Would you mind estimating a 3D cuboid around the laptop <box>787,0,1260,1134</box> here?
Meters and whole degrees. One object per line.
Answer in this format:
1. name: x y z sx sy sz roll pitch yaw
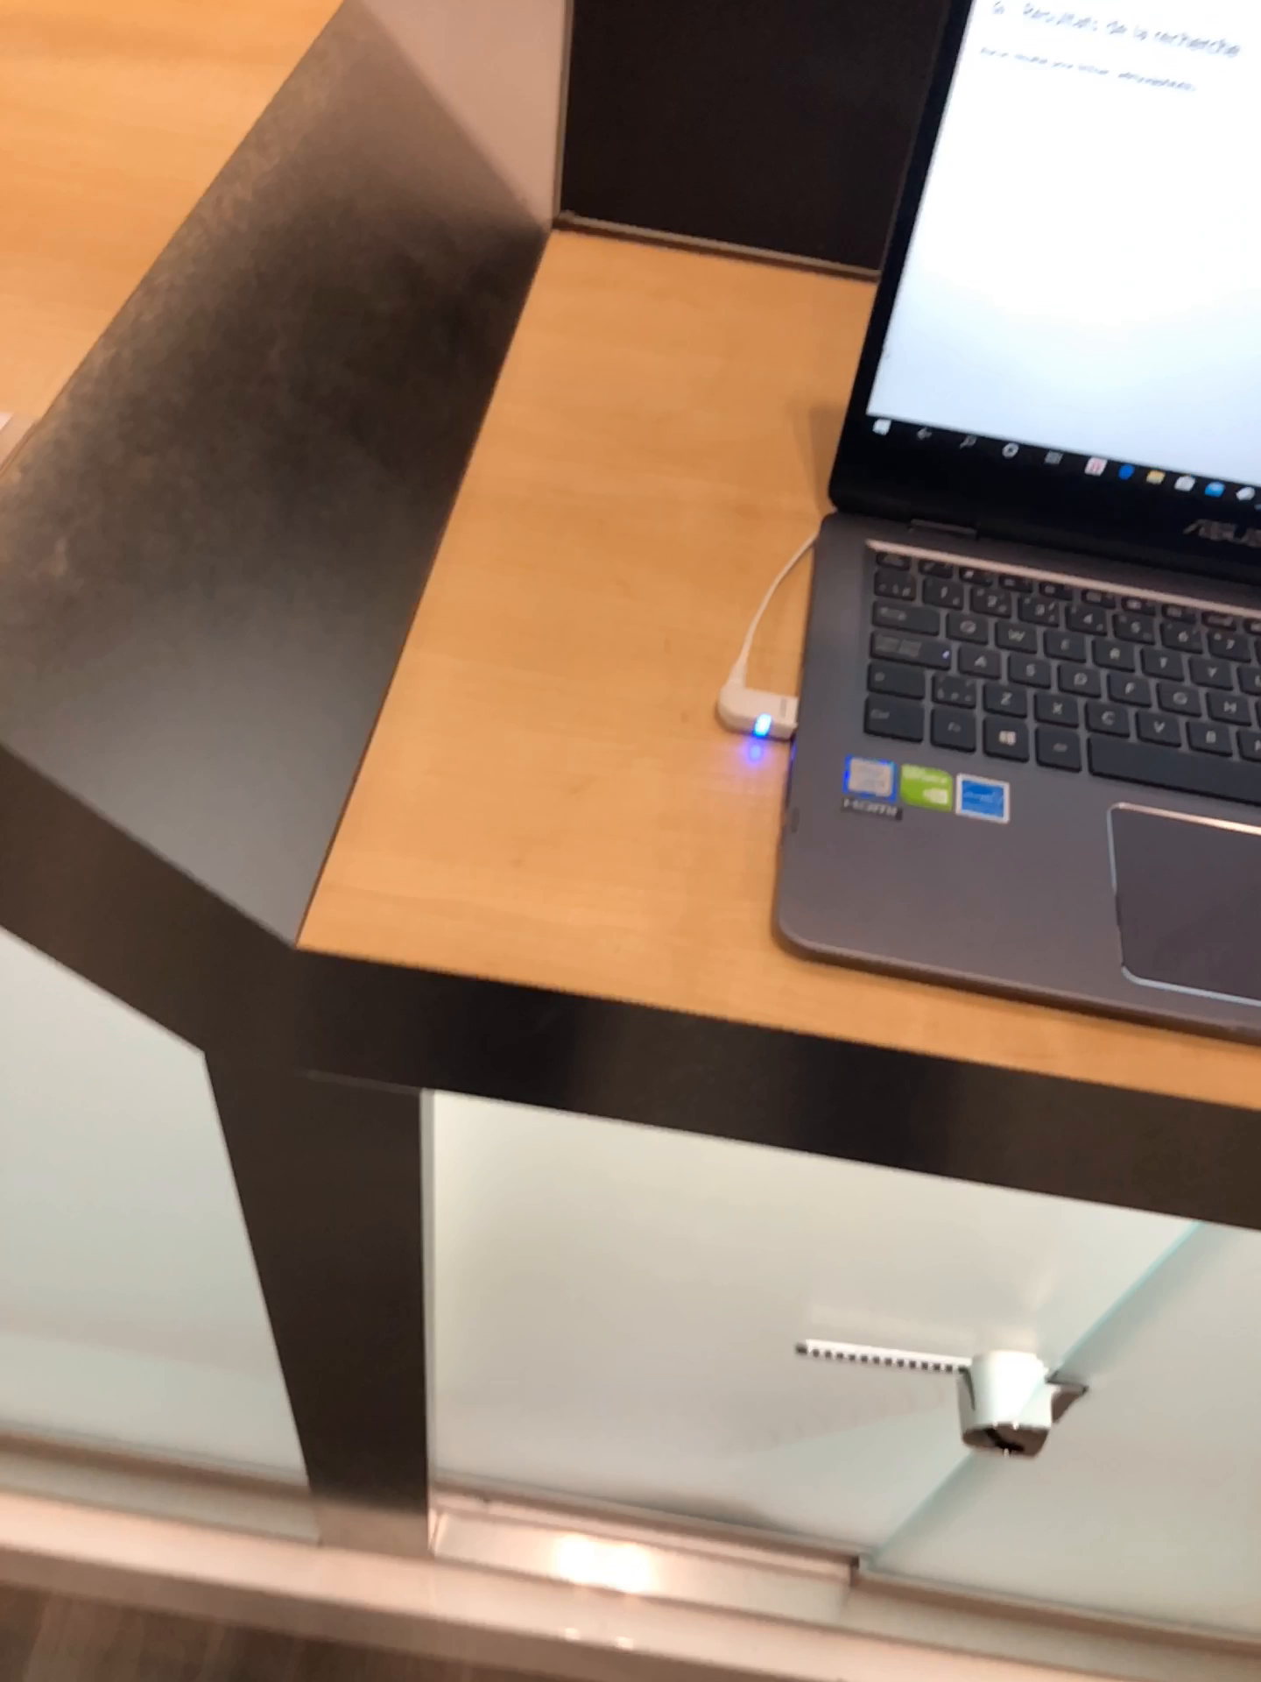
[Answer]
1. laptop: 0.237 -0.098 0.431 0.320 0.224 0.240 11 50 1
